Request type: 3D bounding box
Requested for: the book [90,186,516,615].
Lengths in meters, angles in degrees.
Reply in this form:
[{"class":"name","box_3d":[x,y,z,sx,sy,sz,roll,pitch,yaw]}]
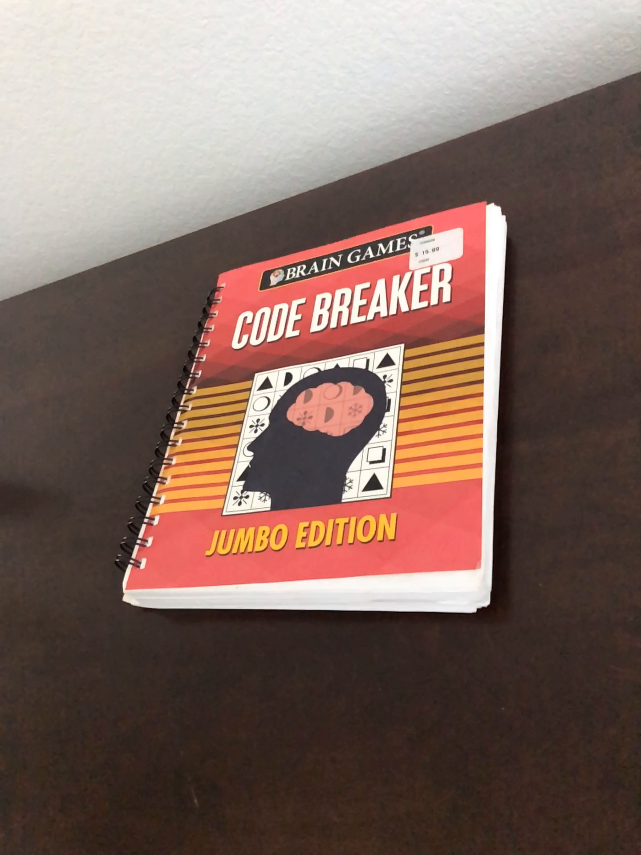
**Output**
[{"class":"book","box_3d":[-0.002,-0.015,0.378,0.202,0.030,0.224,-8,53,27]}]
